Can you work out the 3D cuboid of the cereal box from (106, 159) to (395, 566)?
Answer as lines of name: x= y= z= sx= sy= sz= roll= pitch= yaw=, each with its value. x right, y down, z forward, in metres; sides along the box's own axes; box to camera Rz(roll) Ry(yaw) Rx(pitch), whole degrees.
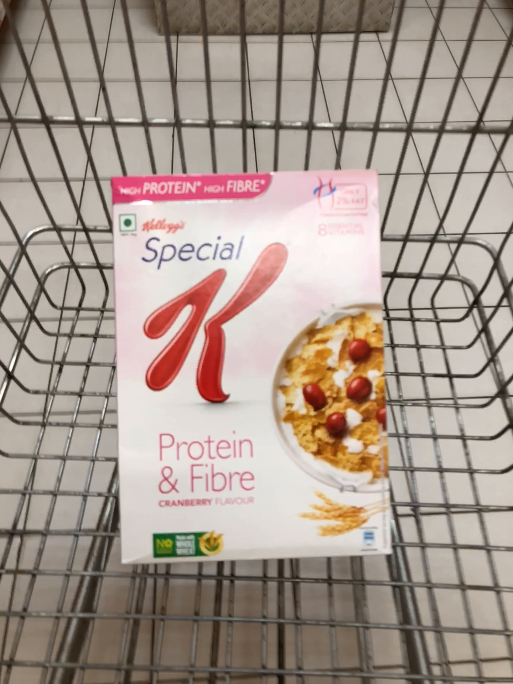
cereal box: x=-0.004 y=0.012 z=0.427 sx=0.190 sy=0.100 sz=0.270 roll=-1 pitch=91 yaw=-2
